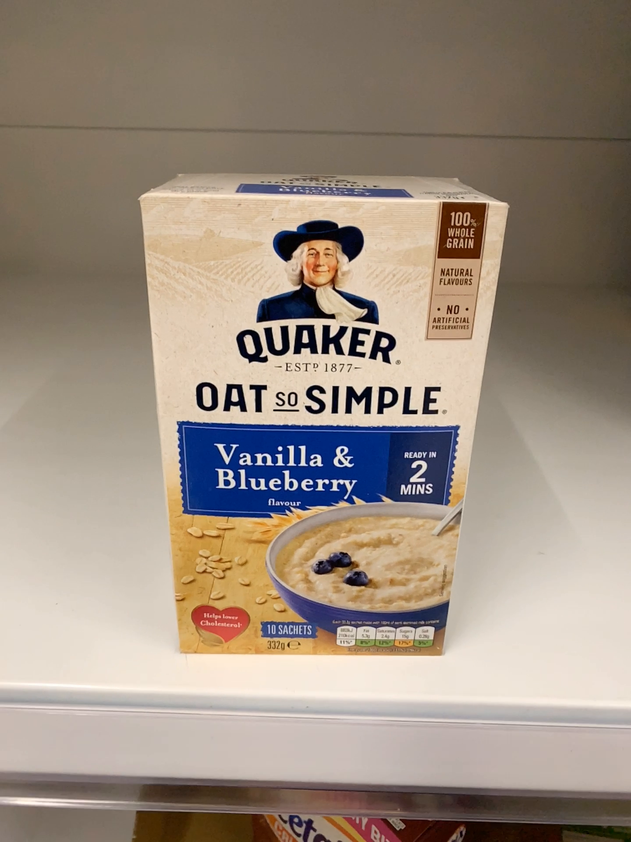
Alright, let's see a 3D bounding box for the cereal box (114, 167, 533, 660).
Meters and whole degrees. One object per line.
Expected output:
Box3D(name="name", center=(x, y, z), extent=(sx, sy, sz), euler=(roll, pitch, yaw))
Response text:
Box3D(name="cereal box", center=(0.000, 0.000, 0.300), extent=(0.140, 0.208, 0.081), euler=(1, 26, -1))
